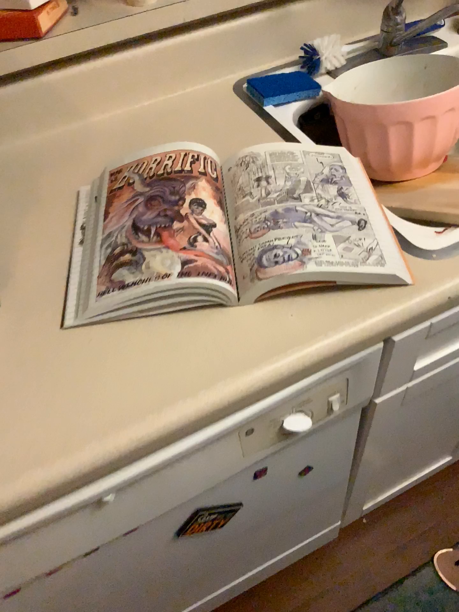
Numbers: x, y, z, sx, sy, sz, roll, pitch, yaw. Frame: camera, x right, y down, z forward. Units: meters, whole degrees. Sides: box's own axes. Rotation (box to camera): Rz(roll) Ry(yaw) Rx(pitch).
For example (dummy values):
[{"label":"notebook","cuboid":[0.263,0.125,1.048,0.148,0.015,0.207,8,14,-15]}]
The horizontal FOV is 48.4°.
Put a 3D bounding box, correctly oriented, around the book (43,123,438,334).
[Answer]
[{"label":"book","cuboid":[0.001,-0.116,0.662,0.430,0.050,0.280,-7,50,0]}]
